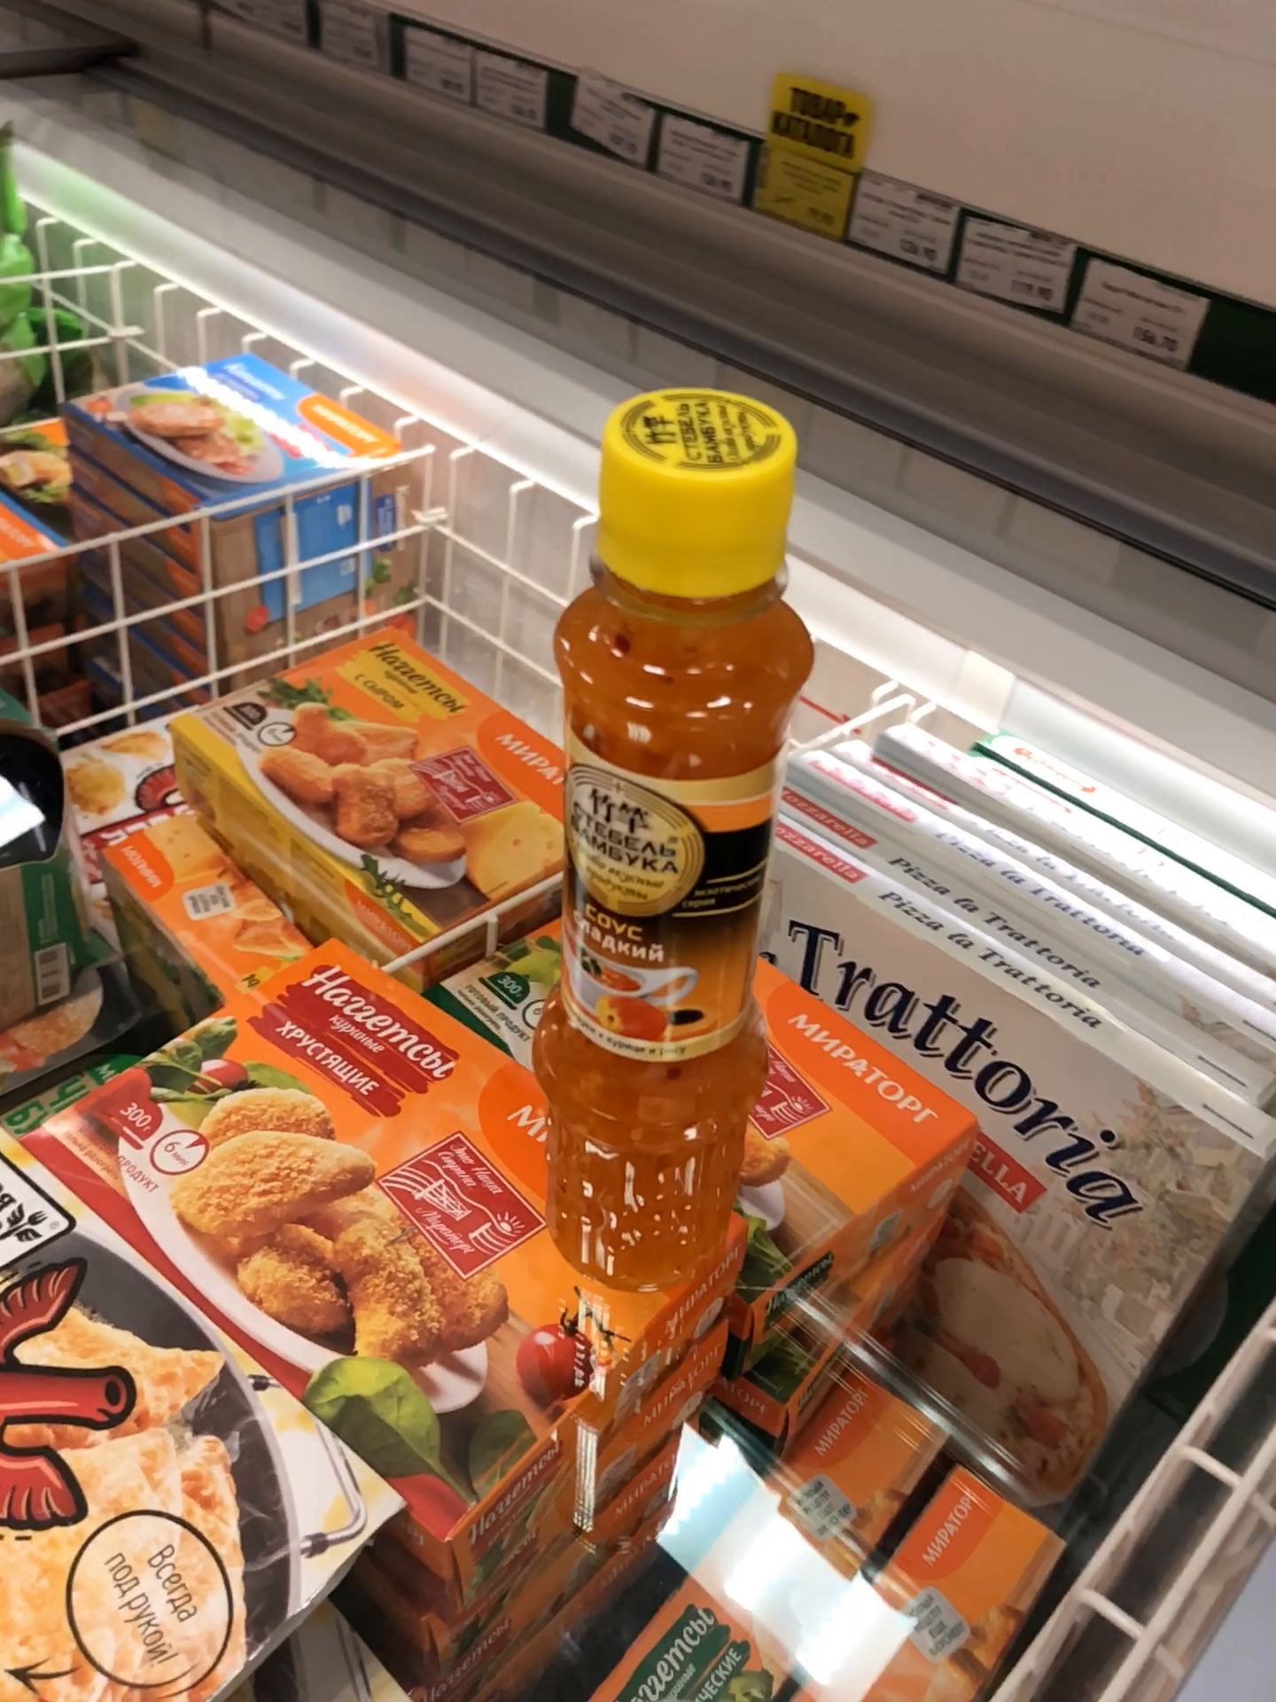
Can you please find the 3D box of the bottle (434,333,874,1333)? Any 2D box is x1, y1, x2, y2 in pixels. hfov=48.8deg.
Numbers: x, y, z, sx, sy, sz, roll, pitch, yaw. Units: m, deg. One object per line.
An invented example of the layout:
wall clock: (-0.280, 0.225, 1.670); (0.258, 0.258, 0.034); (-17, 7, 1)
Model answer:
bottle: (-0.001, 0.012, 0.273); (0.051, 0.201, 0.049); (2, 42, -2)
